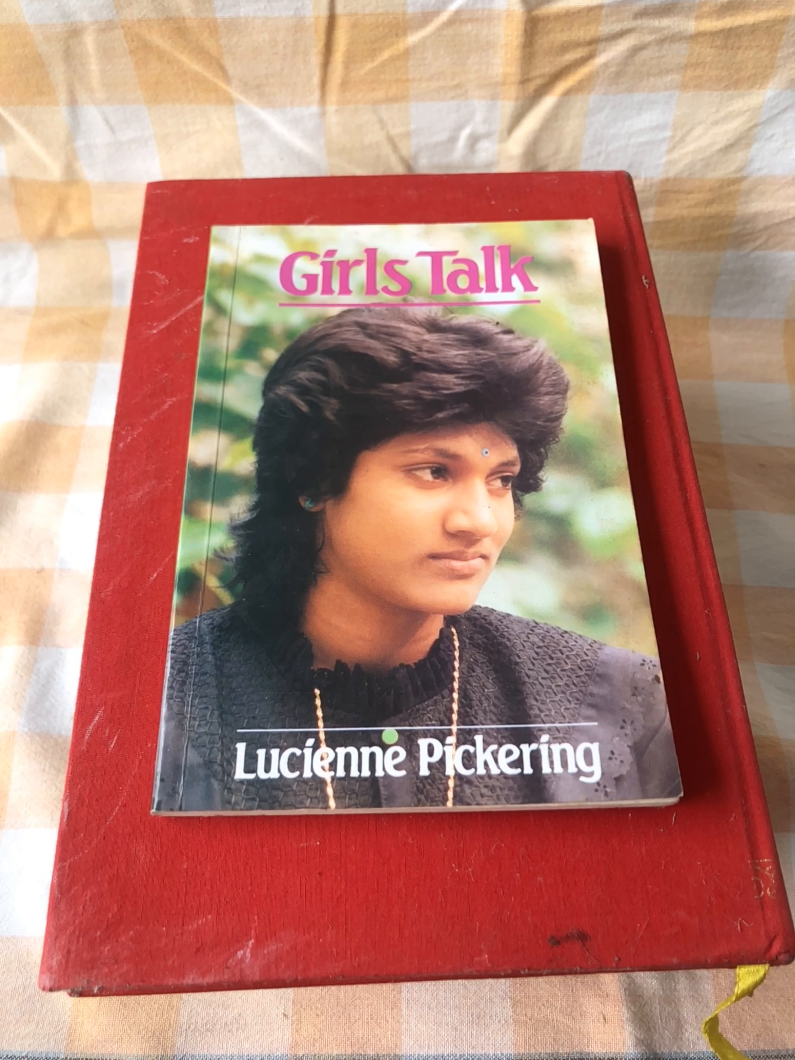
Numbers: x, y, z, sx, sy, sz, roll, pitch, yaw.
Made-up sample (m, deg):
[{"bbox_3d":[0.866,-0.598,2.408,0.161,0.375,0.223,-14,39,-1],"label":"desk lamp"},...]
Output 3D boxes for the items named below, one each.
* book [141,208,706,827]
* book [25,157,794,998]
[{"bbox_3d":[0.004,-0.014,0.255,0.130,0.025,0.182,-1,64,0],"label":"book"},{"bbox_3d":[0.003,-0.007,0.262,0.174,0.031,0.249,-2,63,-1],"label":"book"}]
